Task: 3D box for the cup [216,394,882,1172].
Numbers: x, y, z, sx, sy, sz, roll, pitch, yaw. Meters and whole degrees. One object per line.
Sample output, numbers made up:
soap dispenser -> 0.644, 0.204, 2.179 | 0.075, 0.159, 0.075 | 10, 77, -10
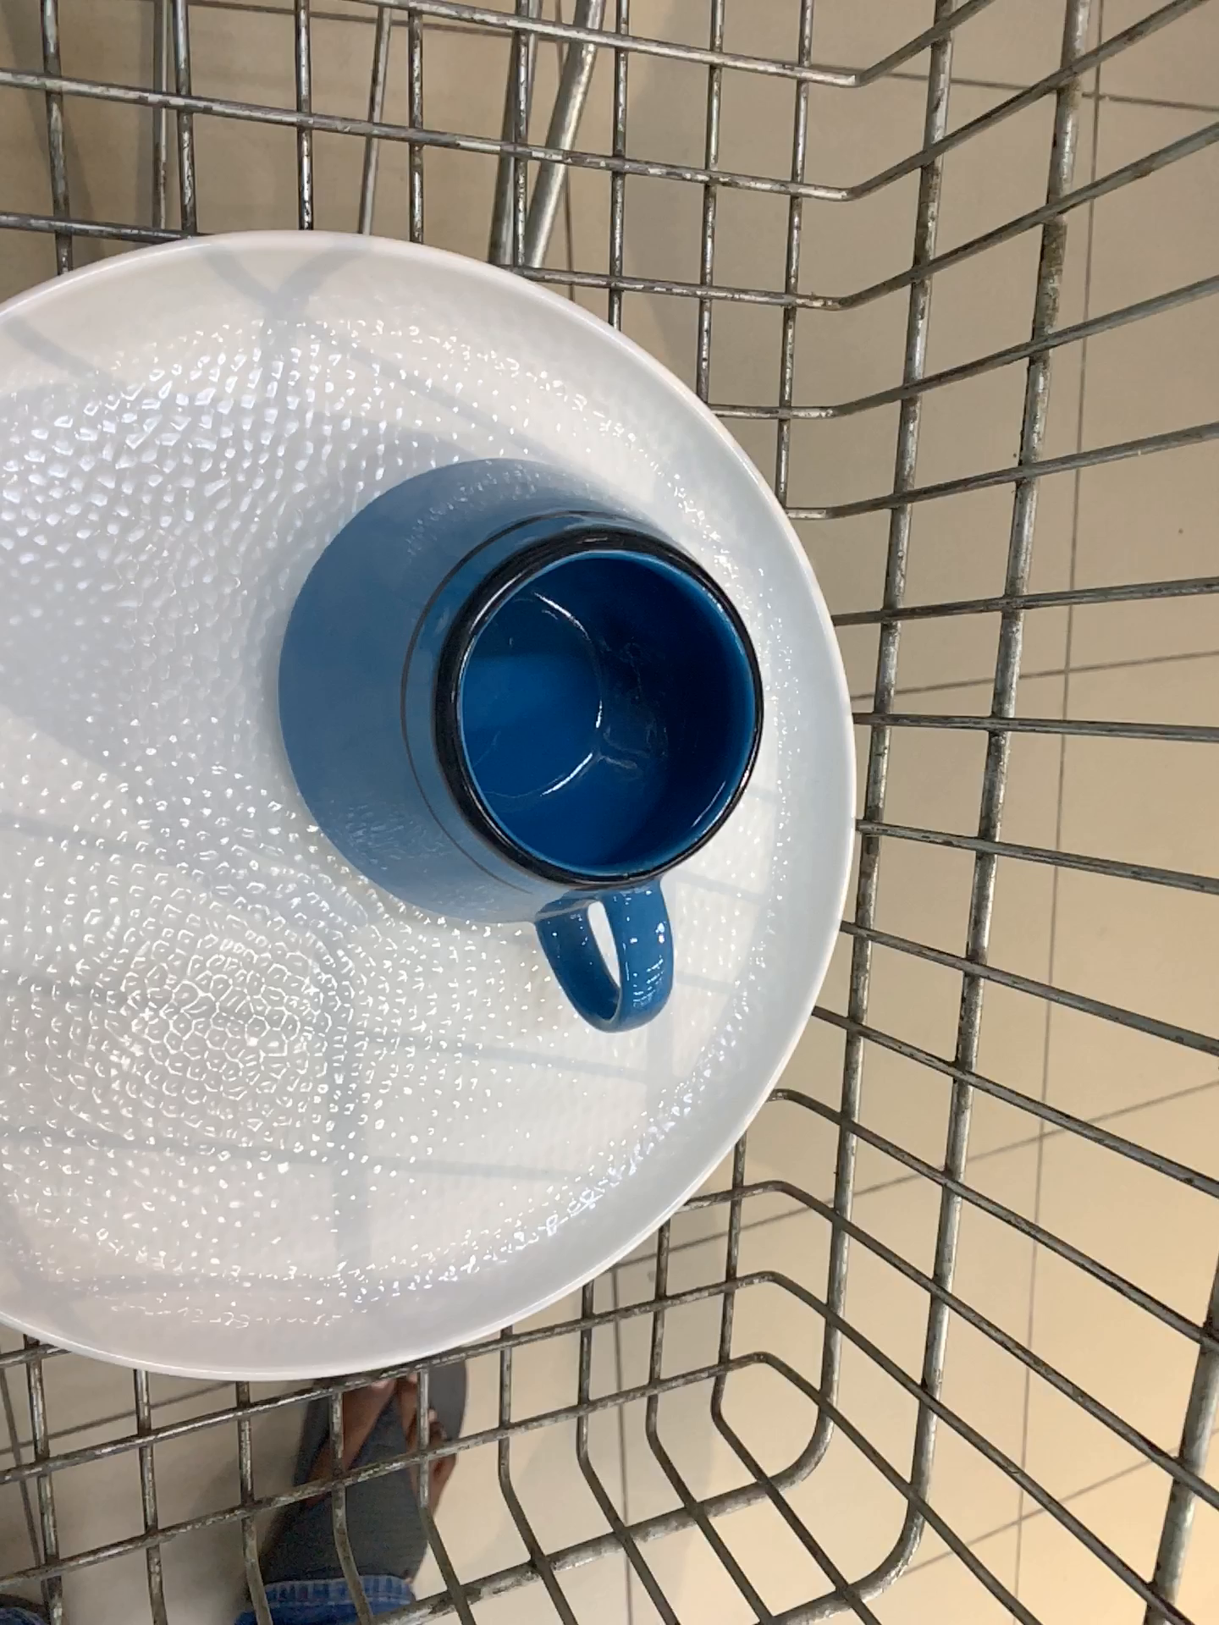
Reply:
cup -> -0.014, -0.014, 0.282 | 0.100, 0.090, 0.130 | -18, 110, -19
